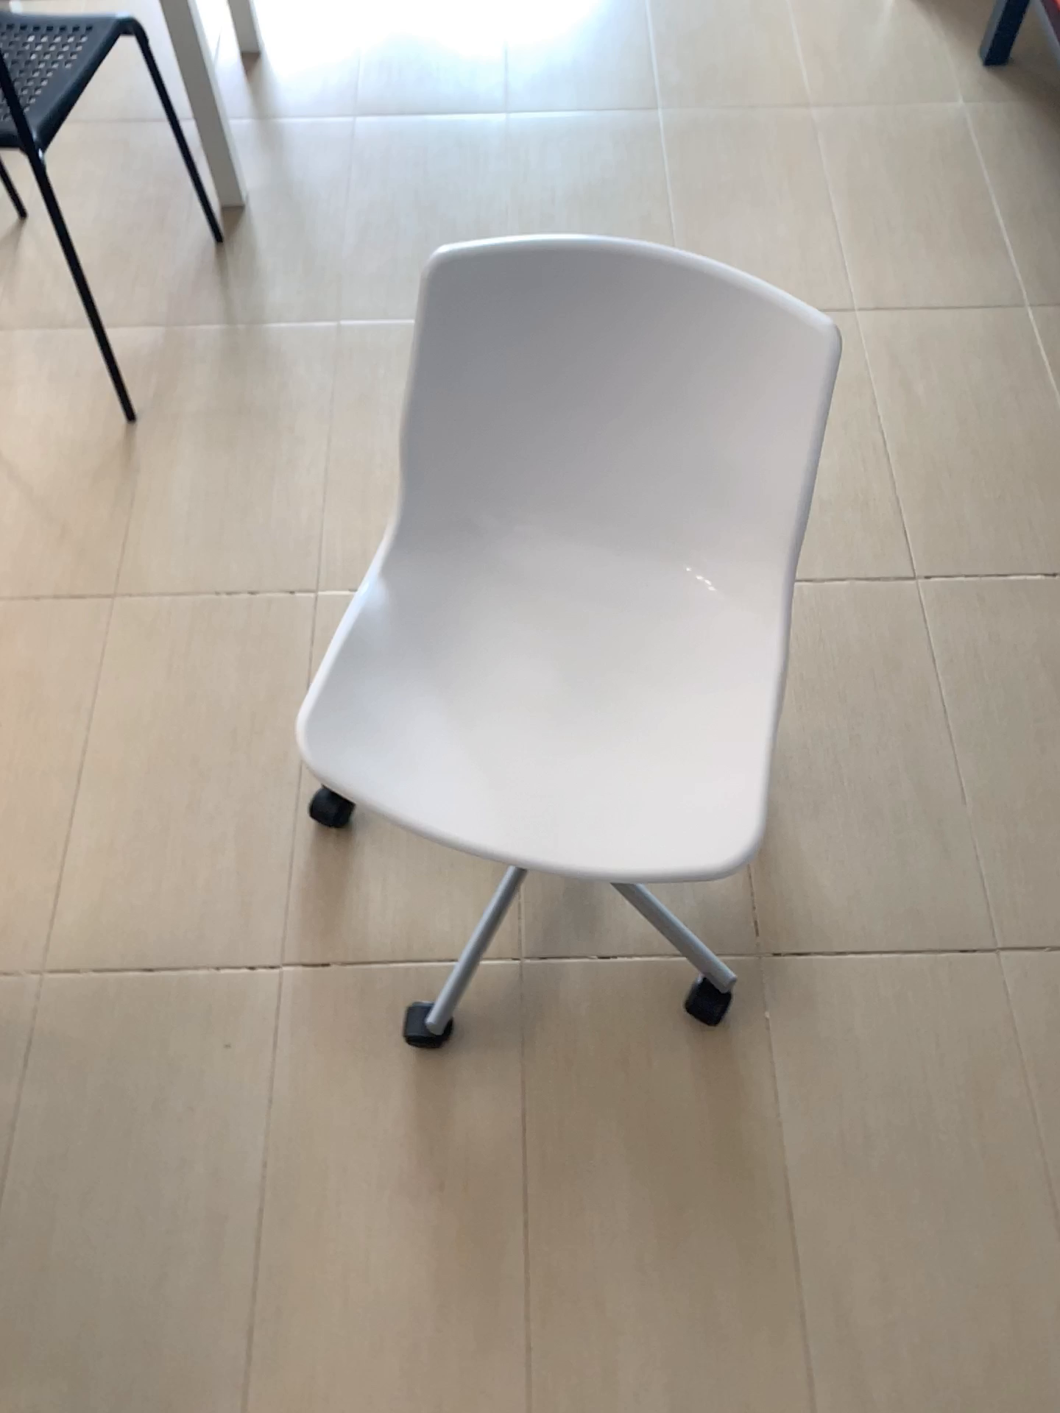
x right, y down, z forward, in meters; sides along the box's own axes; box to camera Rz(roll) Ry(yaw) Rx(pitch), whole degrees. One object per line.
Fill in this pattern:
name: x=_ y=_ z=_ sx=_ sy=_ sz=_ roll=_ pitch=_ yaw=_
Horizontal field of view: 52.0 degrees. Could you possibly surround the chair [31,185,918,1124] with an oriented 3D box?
chair: x=0.011 y=-0.030 z=1.274 sx=0.641 sy=0.648 sz=0.781 roll=11 pitch=63 yaw=6
